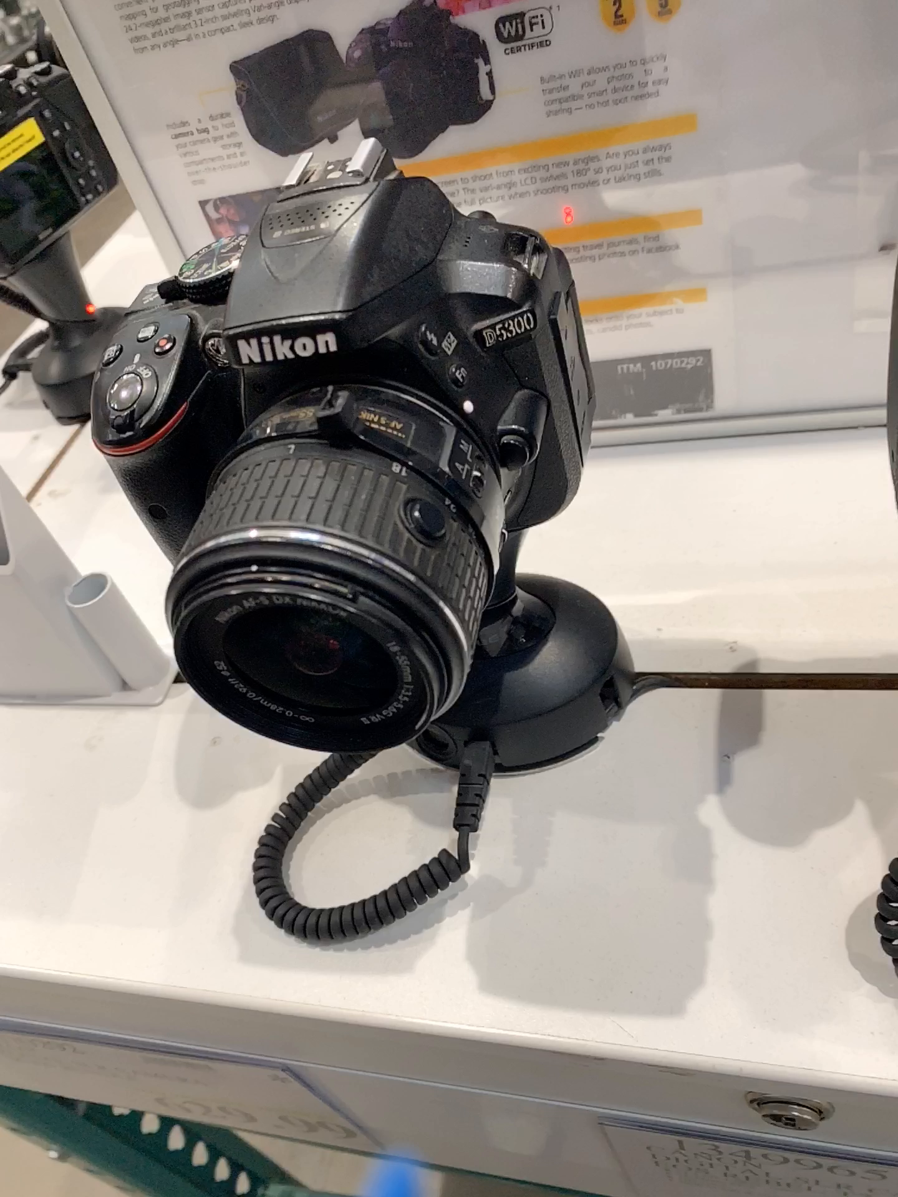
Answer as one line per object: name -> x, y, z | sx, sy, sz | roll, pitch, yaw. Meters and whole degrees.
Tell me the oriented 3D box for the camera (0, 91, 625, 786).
camera -> -0.026, -0.039, 0.209 | 0.120, 0.069, 0.141 | -5, 45, 16
